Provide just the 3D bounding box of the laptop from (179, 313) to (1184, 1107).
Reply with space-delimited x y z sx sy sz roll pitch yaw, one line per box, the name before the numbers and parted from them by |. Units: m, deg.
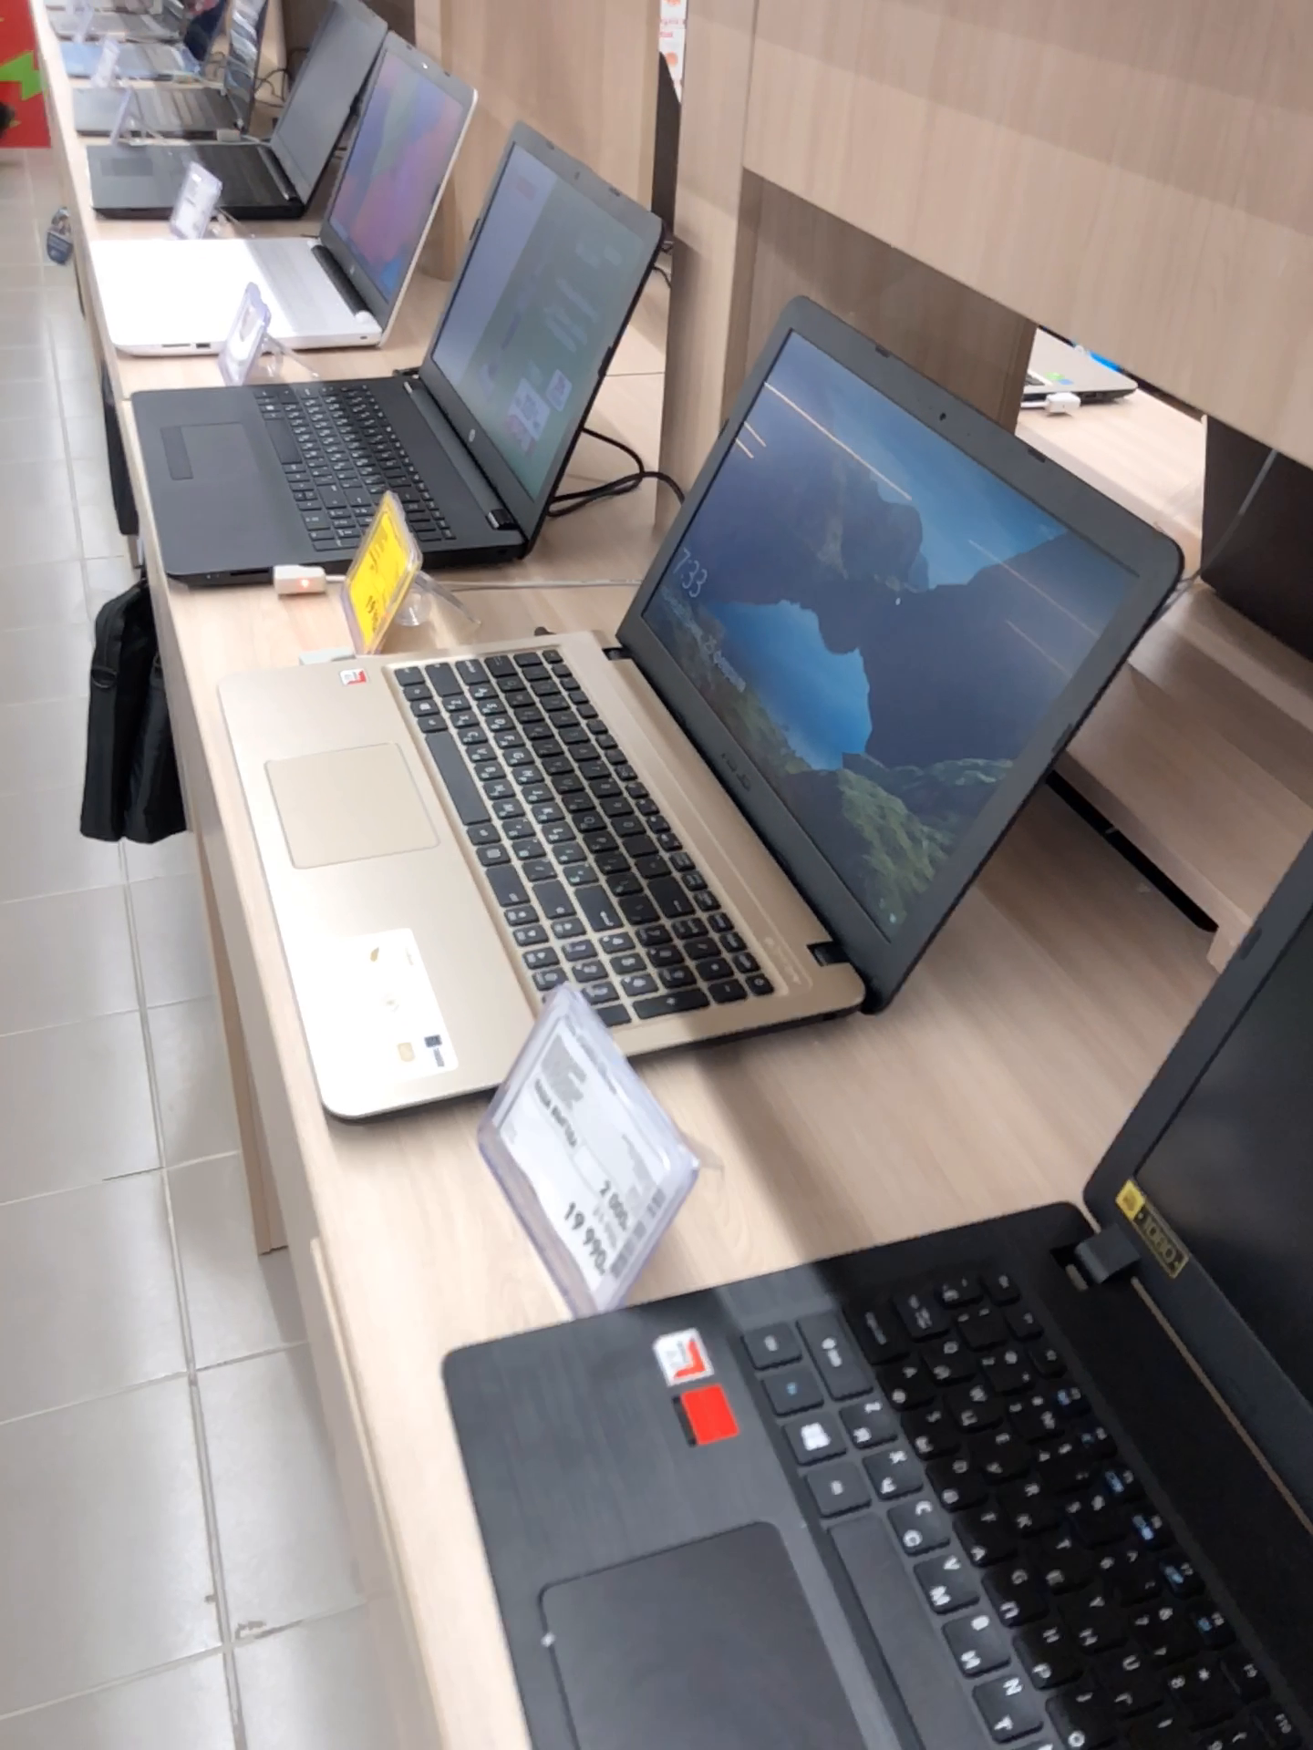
laptop | -0.027 -0.119 0.721 0.350 0.208 0.368 -10 37 -18
